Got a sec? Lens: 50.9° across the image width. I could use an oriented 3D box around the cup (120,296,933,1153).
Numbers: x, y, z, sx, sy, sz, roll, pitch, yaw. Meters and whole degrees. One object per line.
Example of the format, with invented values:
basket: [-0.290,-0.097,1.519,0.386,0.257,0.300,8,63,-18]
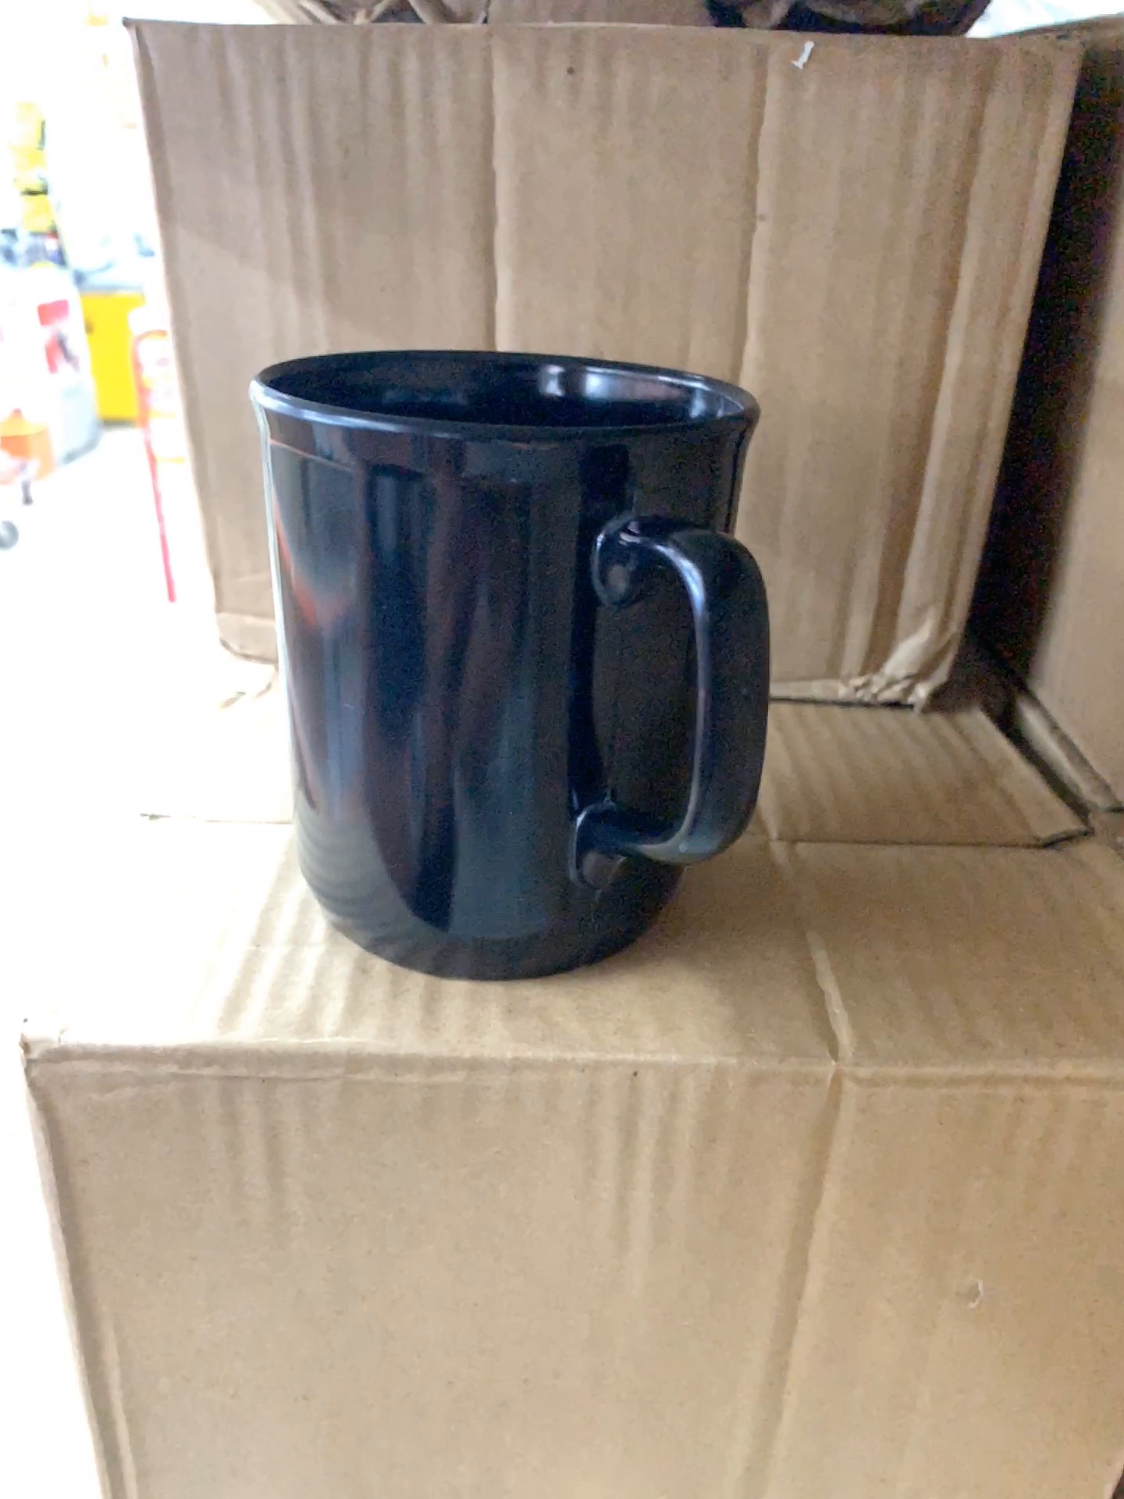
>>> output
cup: [-0.011,-0.017,0.183,0.070,0.089,0.100,-17,30,-30]
